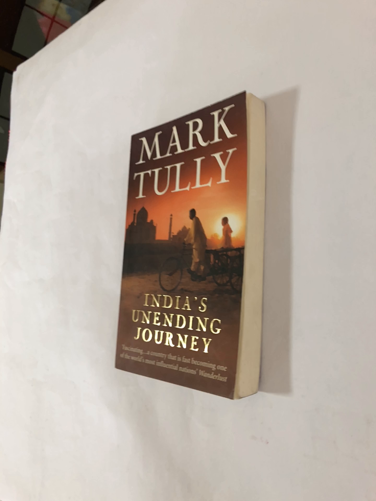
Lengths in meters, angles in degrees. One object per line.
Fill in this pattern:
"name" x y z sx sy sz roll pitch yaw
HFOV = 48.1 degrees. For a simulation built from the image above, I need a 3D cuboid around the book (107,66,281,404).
"book" 0.000 -0.010 0.313 0.131 0.030 0.210 -3 81 43
